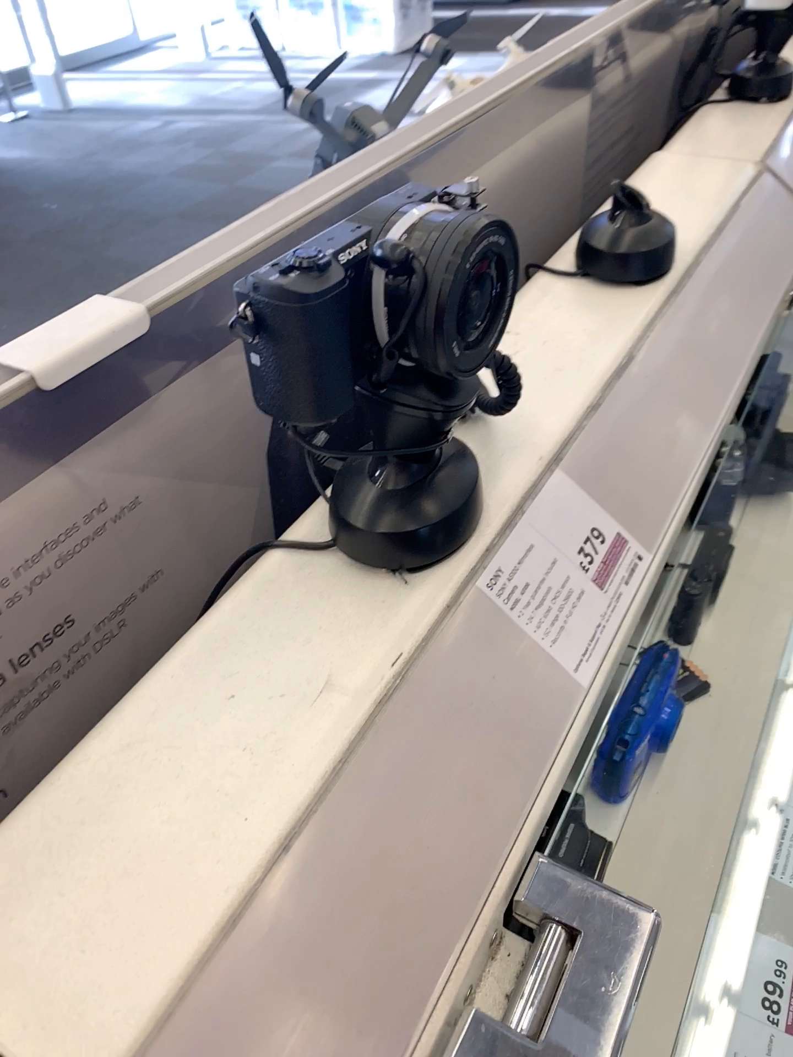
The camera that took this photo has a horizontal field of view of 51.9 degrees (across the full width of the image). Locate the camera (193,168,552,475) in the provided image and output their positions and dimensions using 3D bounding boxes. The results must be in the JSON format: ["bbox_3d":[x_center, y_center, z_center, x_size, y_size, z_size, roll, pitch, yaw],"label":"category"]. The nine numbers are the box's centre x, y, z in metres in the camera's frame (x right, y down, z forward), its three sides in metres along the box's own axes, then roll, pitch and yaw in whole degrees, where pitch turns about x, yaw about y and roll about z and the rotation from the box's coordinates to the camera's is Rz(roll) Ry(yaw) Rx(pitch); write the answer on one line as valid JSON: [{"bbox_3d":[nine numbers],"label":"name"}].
[{"bbox_3d":[-0.003,-0.089,0.321,0.080,0.059,0.121,20,46,27],"label":"camera"}]
